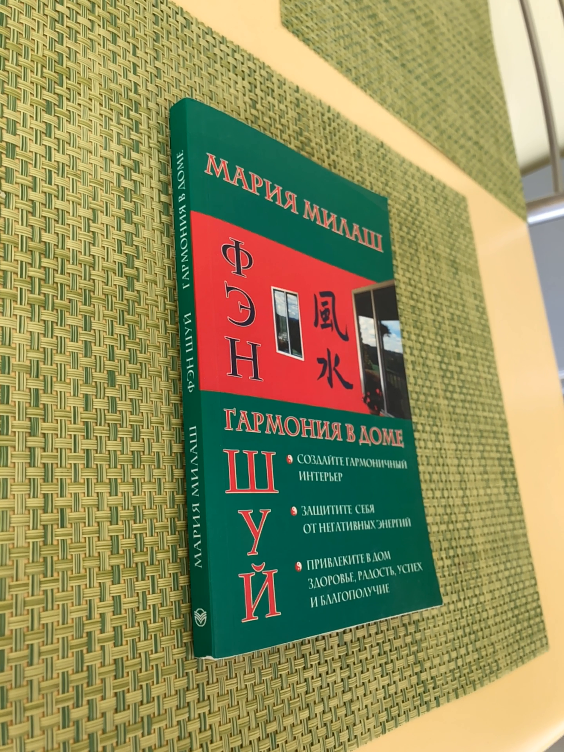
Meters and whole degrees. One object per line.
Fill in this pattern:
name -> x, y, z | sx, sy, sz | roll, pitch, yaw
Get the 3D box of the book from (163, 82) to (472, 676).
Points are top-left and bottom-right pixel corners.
book -> 0.018, -0.001, 0.257 | 0.137, 0.020, 0.200 | 10, 69, -43
